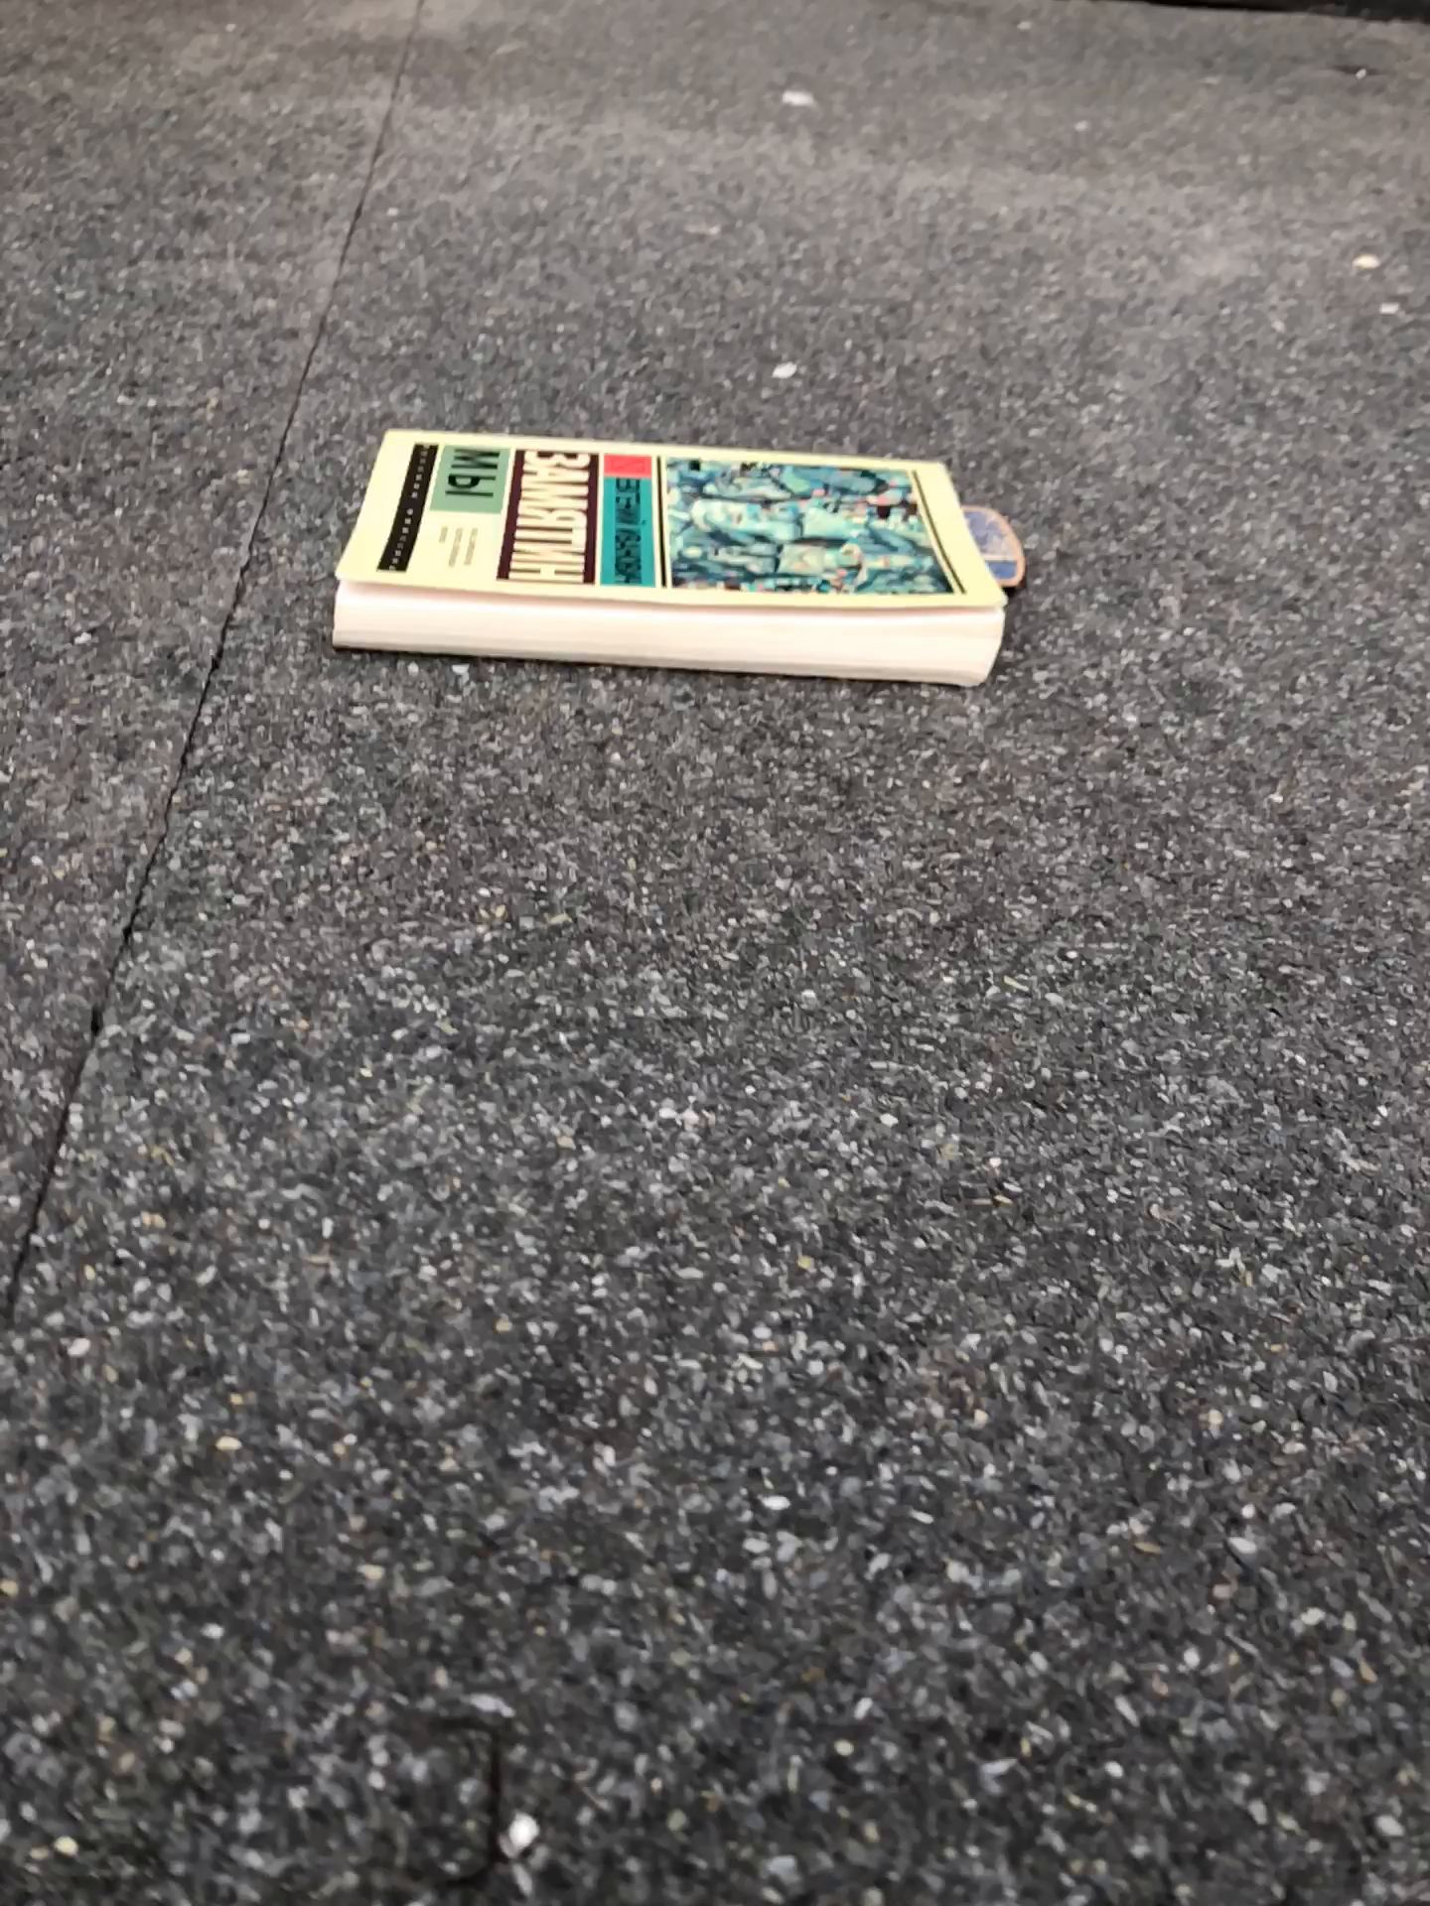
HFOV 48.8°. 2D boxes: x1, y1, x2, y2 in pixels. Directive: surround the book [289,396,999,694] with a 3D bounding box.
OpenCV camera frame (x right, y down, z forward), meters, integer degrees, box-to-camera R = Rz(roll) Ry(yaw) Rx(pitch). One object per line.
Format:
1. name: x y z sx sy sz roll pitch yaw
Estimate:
1. book: -0.020 -0.122 0.459 0.182 0.027 0.121 2 39 -4
